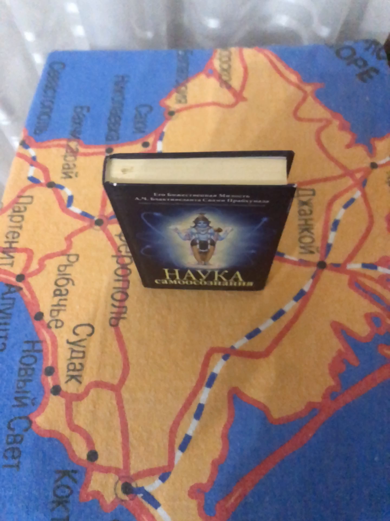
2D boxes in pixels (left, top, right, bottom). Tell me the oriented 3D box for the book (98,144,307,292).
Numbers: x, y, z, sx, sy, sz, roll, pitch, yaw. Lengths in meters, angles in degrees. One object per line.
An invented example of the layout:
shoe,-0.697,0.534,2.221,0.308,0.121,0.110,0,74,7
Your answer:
book,0.008,-0.024,0.388,0.140,0.205,0.030,0,65,2
